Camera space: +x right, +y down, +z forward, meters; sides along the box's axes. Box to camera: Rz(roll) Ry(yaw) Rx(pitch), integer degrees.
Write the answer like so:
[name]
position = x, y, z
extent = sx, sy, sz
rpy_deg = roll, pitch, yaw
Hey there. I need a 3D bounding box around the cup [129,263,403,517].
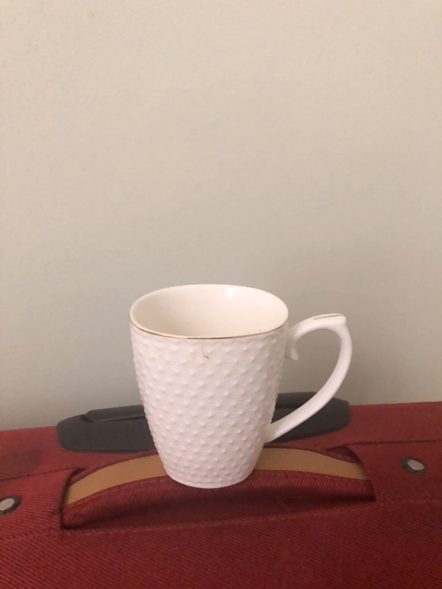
[cup]
position = 0.016, 0.040, 0.248
extent = 0.111, 0.084, 0.075
rpy_deg = -6, 21, -13
